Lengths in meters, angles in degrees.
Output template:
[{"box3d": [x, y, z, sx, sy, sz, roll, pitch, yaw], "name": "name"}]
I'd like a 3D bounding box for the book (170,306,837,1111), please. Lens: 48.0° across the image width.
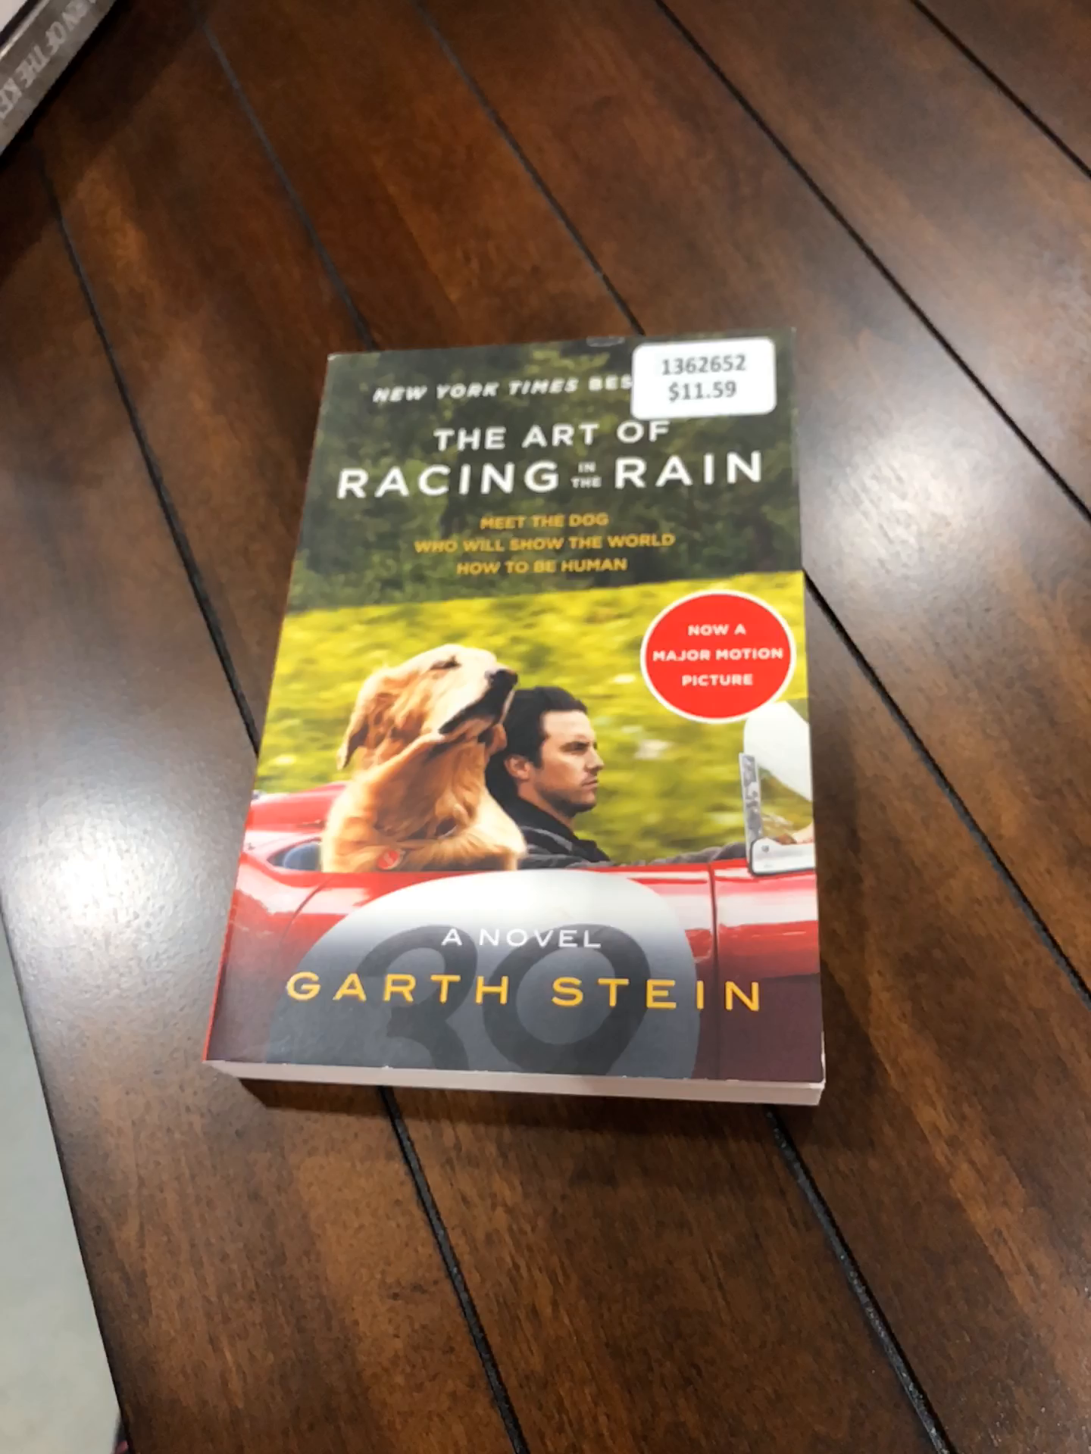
[{"box3d": [-0.003, -0.016, 0.313, 0.140, 0.028, 0.210, -1, 63, 9], "name": "book"}]
